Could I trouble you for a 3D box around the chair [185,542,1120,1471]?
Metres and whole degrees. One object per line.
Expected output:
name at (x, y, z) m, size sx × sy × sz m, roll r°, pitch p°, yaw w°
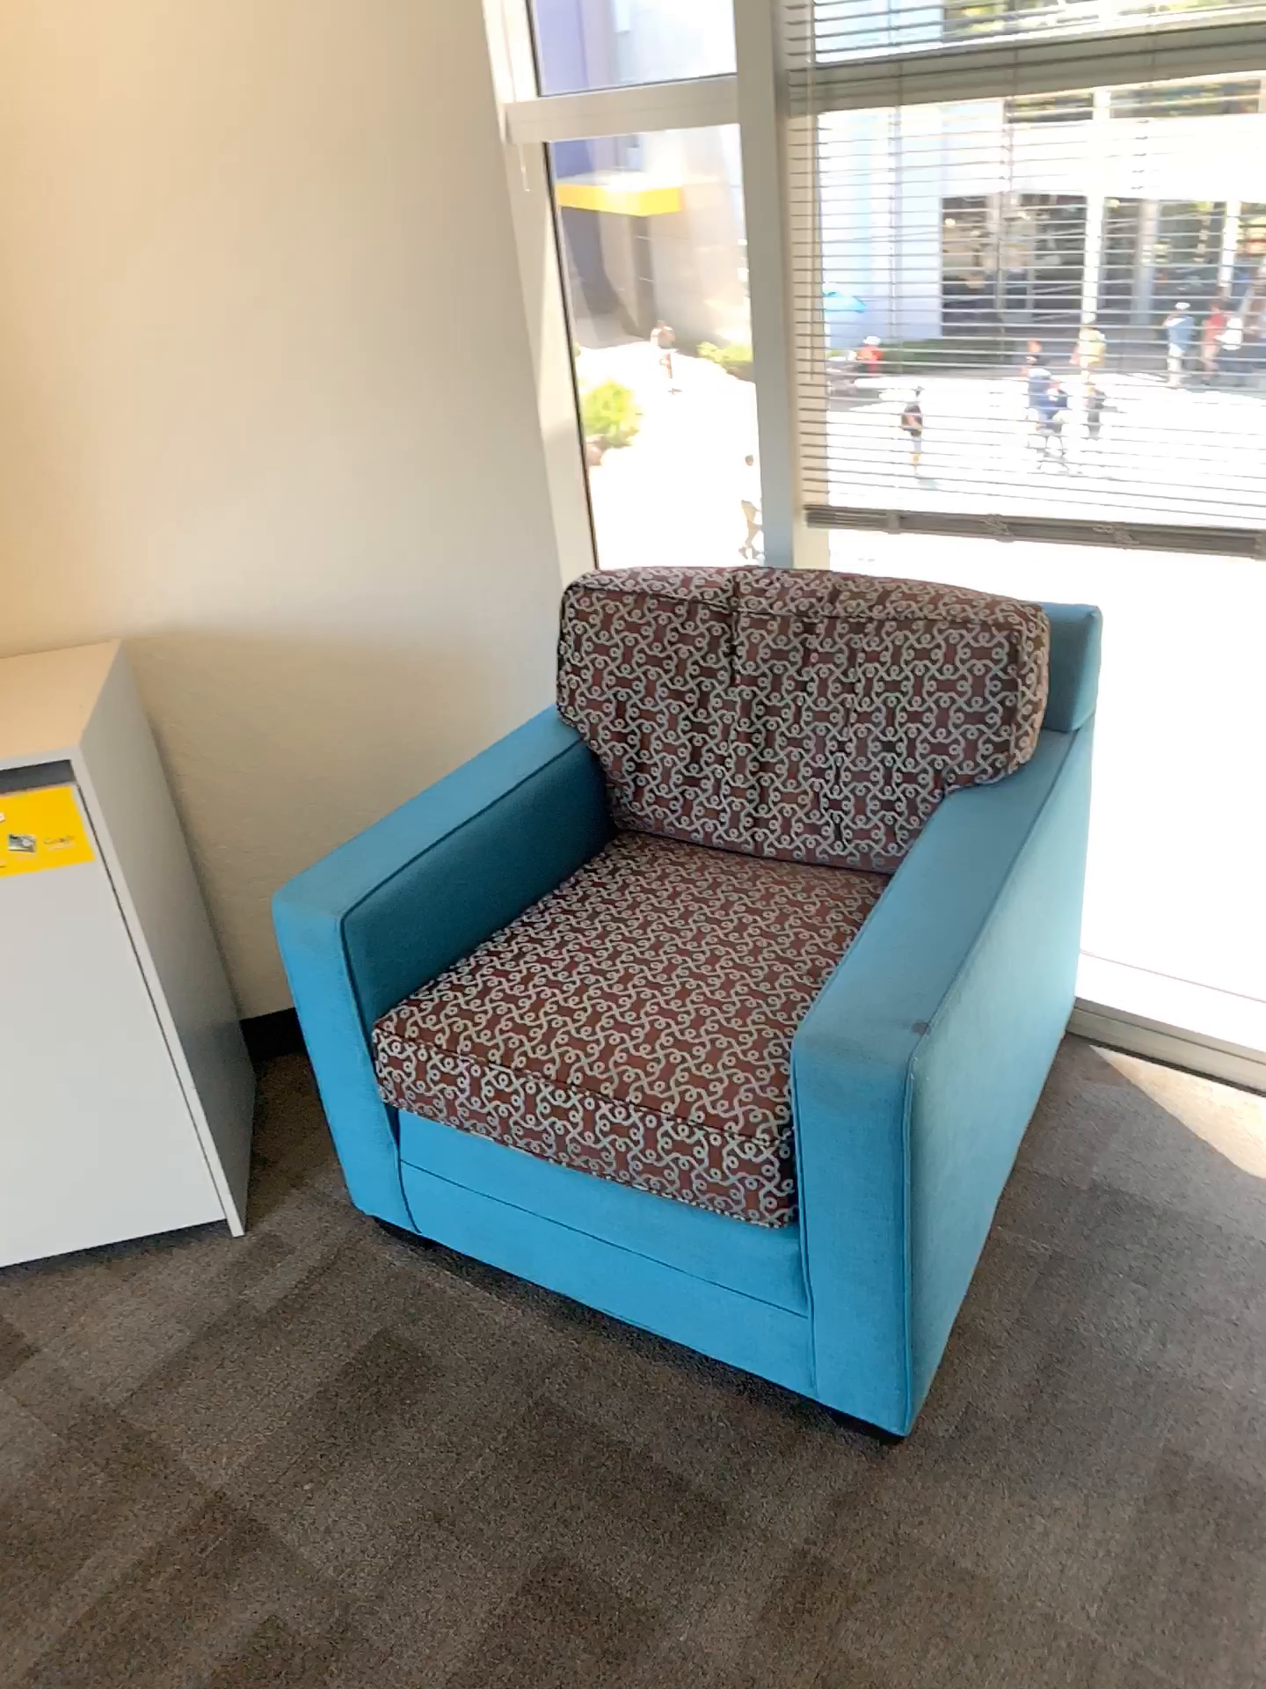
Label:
chair at (0.107, 0.112, 1.918) m, size 0.932 × 0.805 × 0.913 m, roll 11°, pitch 34°, yaw 28°
